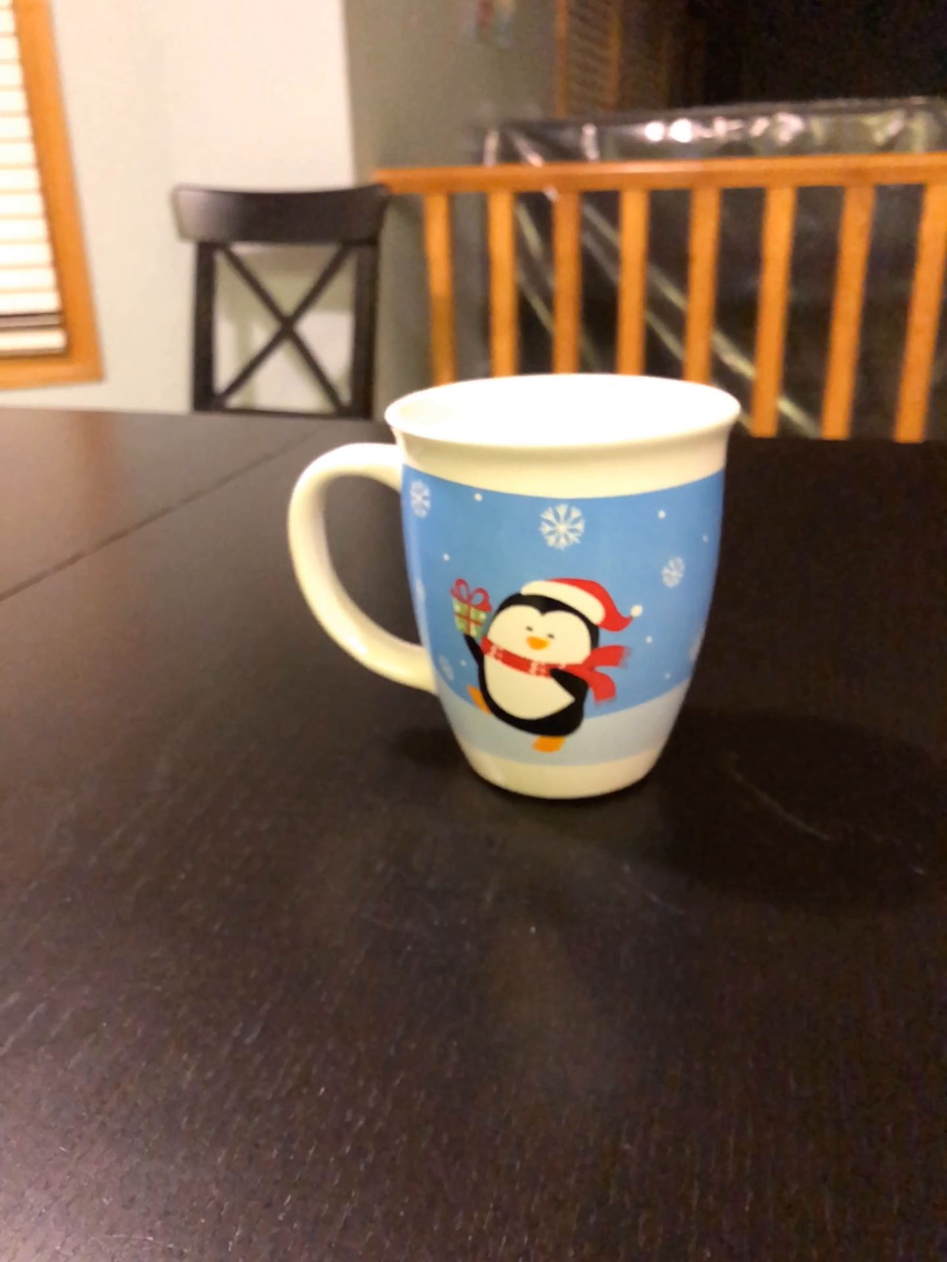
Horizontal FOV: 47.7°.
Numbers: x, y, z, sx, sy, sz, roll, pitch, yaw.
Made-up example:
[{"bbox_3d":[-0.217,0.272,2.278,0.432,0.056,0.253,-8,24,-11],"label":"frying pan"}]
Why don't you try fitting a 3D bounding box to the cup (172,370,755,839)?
[{"bbox_3d":[0.005,-0.018,0.320,0.140,0.100,0.100,6,23,17],"label":"cup"}]
